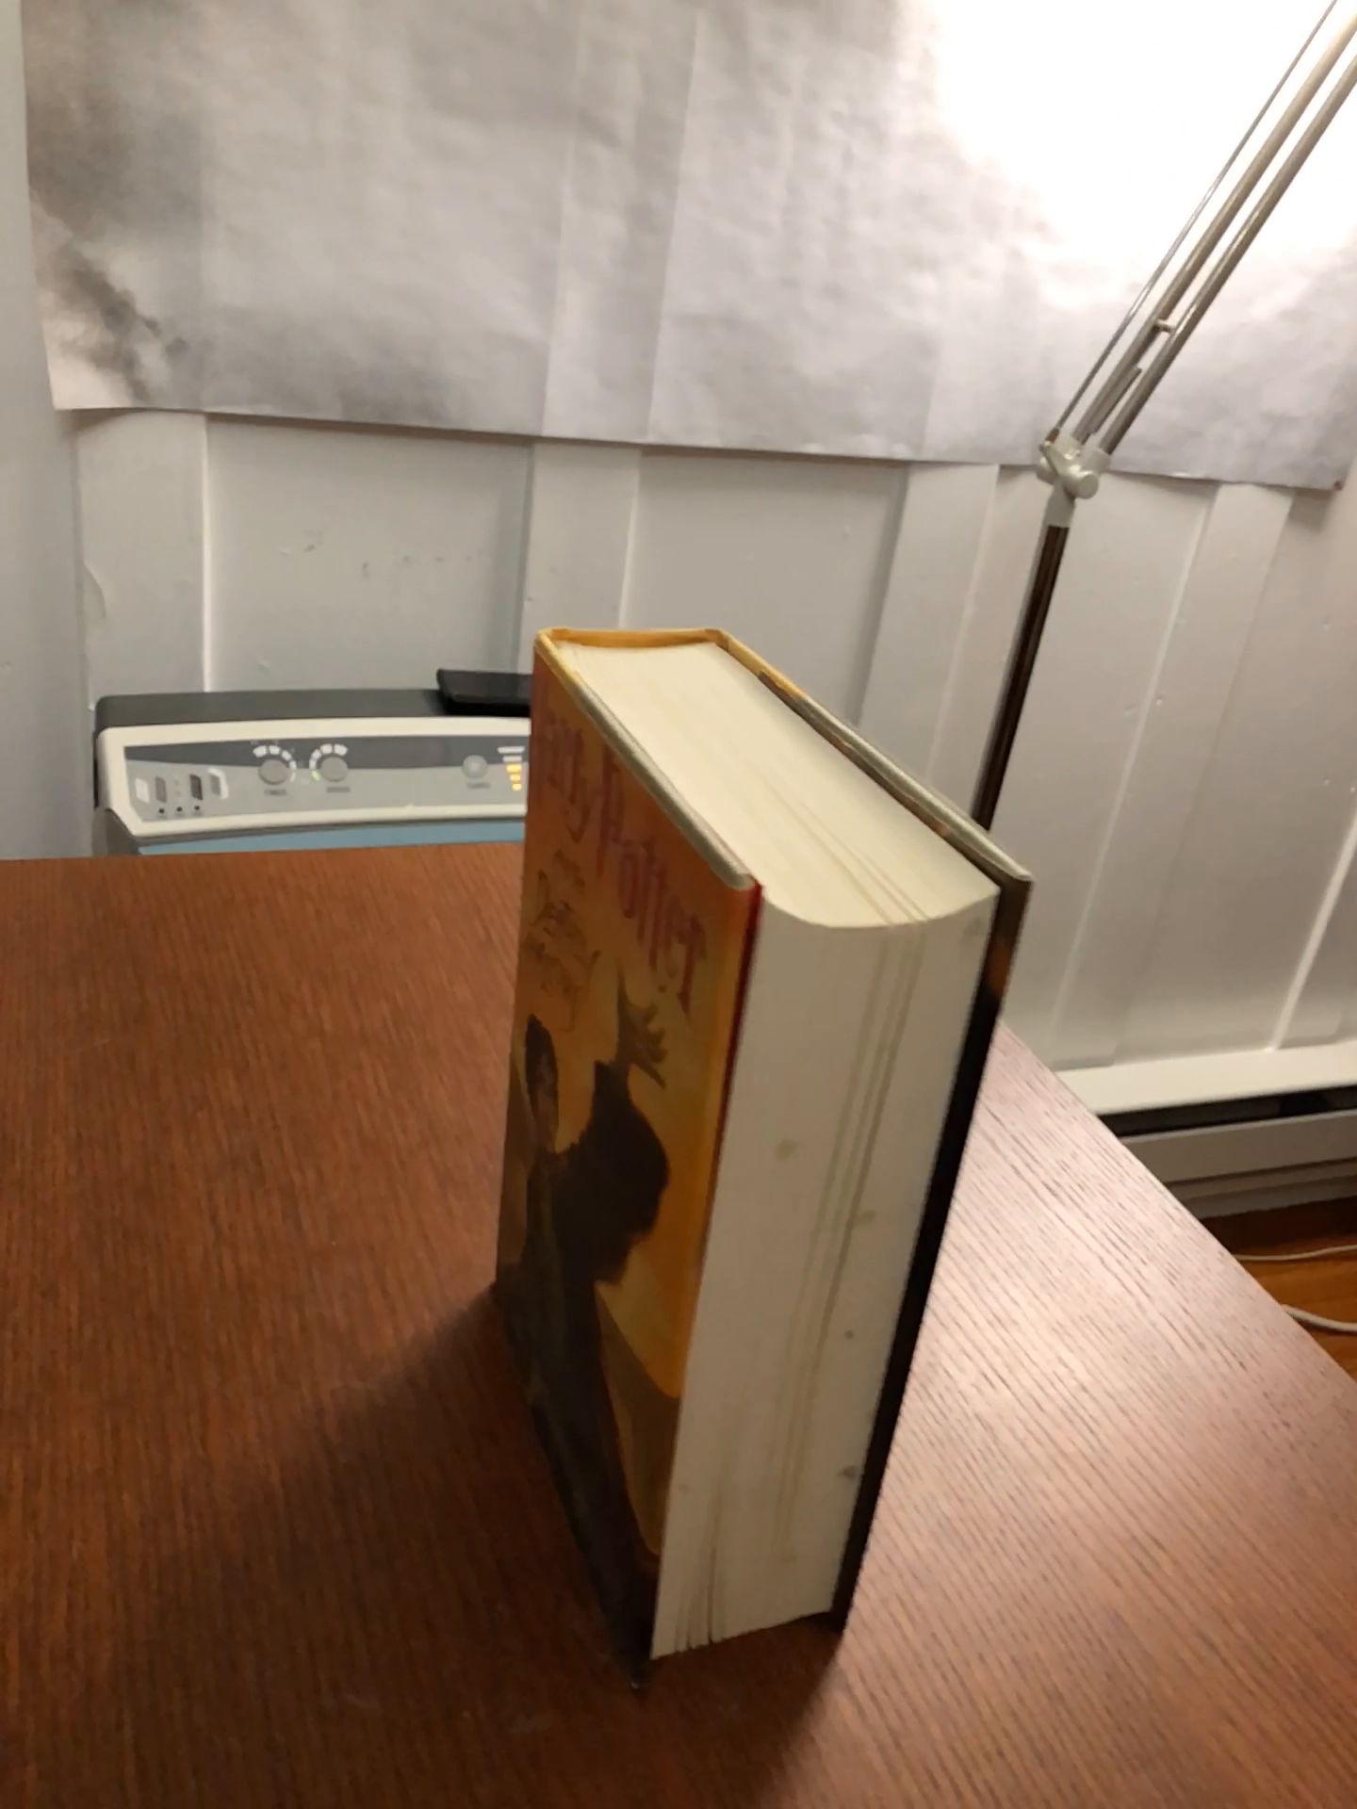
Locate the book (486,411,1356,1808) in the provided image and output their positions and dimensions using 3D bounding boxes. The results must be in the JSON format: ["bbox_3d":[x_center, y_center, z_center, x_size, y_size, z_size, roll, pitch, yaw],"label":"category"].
[{"bbox_3d":[0.021,0.055,0.370,0.070,0.298,0.211,-4,29,-21],"label":"book"}]
